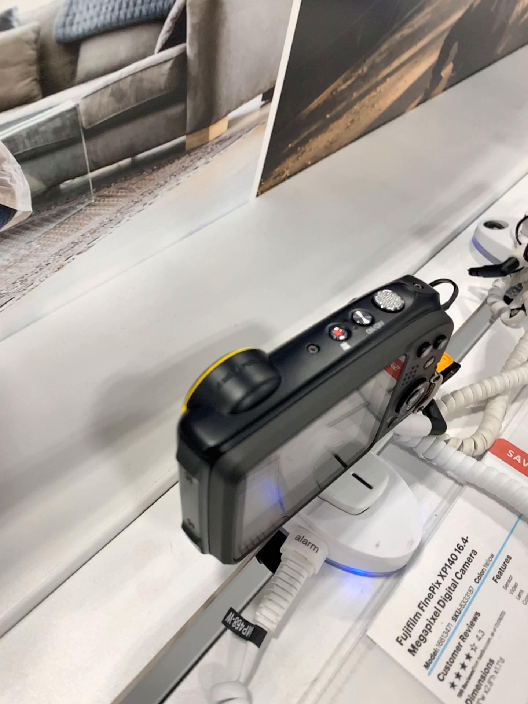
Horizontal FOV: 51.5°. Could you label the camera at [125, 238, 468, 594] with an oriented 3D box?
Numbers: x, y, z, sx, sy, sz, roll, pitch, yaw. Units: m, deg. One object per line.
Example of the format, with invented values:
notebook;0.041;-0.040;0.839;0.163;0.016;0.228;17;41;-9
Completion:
camera;0.014;0.015;0.182;0.040;0.060;0.110;36;50;26
